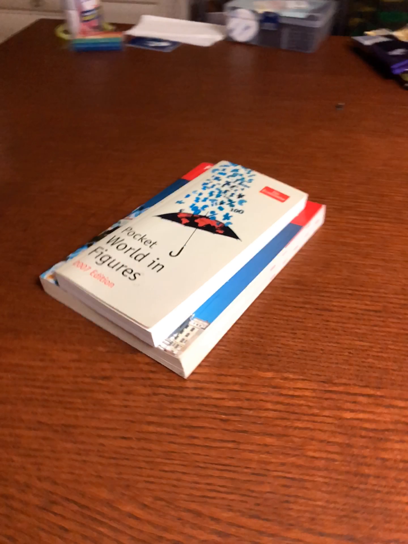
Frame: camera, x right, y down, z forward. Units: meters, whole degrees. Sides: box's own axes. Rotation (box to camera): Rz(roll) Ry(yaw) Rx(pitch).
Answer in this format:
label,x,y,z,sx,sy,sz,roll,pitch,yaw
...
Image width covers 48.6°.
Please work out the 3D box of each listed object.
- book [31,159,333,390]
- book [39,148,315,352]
label,x,y,z,sx,sy,sz,roll,pitch,yaw
book,-0.007,-0.020,0.367,0.140,0.020,0.211,27,48,25
book,-0.009,-0.034,0.345,0.100,0.020,0.201,28,49,27
